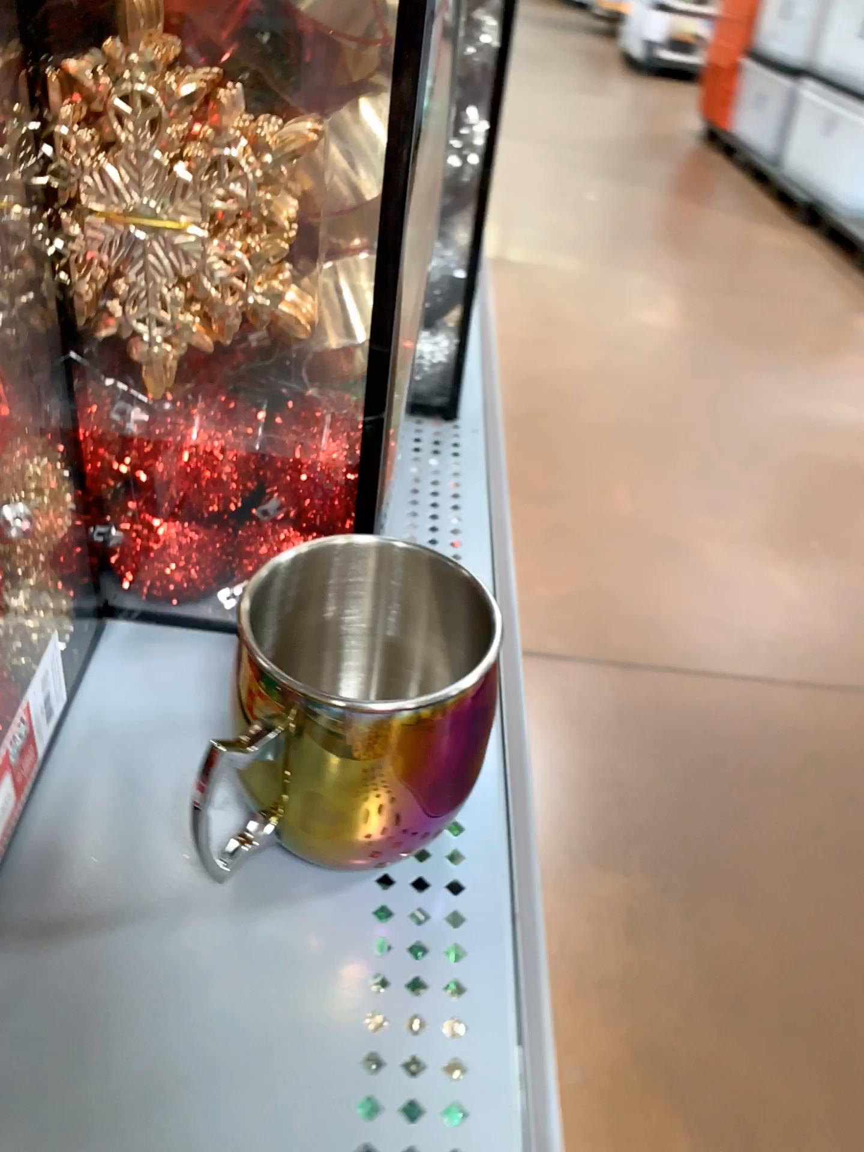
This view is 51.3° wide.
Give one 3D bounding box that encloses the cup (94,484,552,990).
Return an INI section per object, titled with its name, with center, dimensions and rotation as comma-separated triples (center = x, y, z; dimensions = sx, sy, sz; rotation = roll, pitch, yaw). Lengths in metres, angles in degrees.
[cup]
center = -0.033, 0.045, 0.297
dimensions = 0.087, 0.090, 0.110
rotation = 27, 40, 22
